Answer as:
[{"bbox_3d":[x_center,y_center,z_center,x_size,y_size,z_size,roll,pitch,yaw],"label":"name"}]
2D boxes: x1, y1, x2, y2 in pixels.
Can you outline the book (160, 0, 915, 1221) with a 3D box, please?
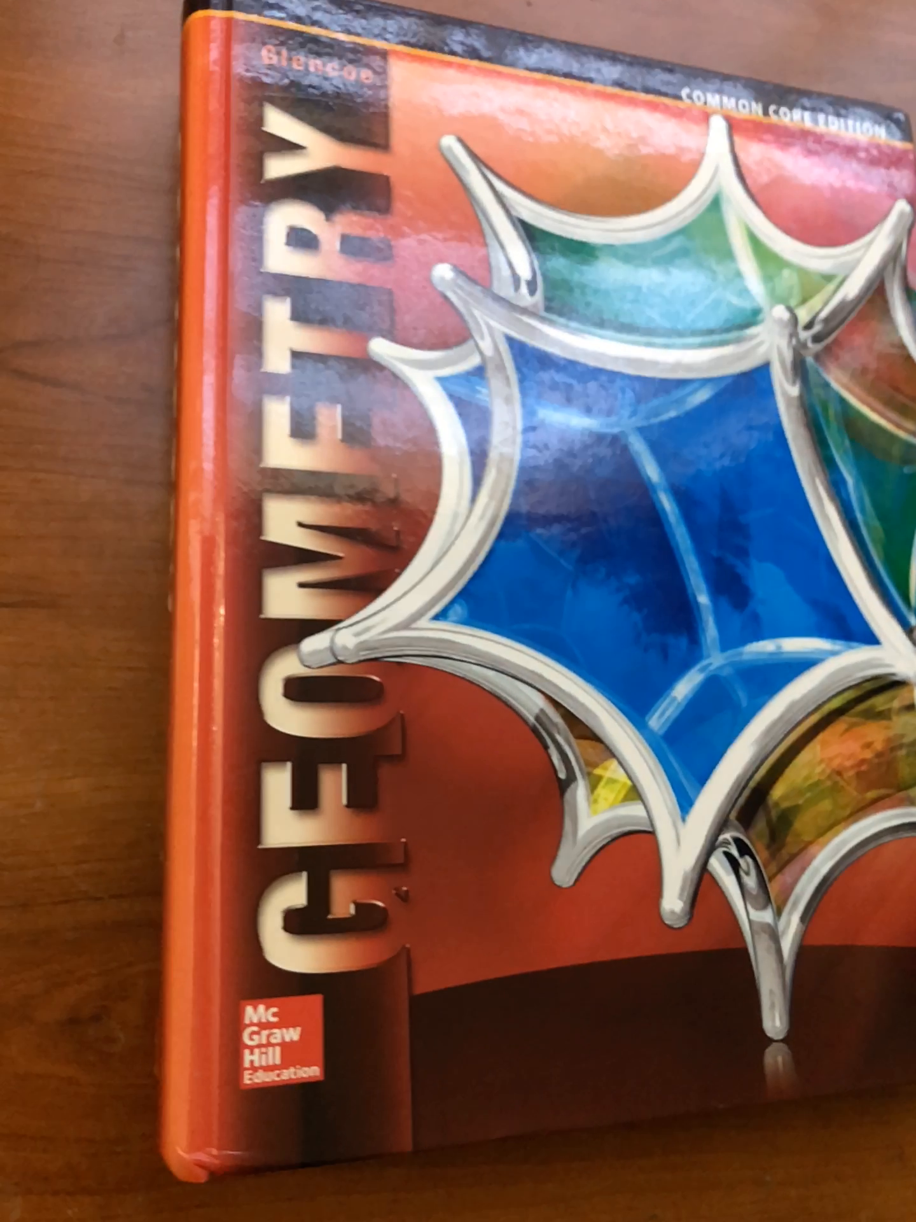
[{"bbox_3d":[0.042,-0.014,0.284,0.229,0.050,0.310,2,76,-17],"label":"book"}]
